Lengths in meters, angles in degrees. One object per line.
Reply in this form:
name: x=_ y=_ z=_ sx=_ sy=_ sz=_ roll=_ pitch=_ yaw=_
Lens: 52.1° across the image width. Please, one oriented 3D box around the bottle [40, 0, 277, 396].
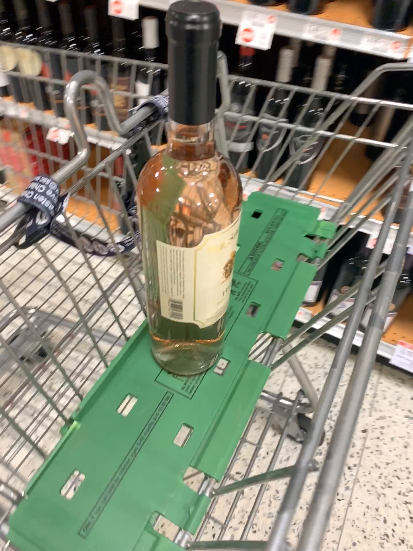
bottle: x=-0.025 y=-0.033 z=0.327 sx=0.086 sy=0.315 sz=0.084 roll=1 pitch=48 yaw=-1
